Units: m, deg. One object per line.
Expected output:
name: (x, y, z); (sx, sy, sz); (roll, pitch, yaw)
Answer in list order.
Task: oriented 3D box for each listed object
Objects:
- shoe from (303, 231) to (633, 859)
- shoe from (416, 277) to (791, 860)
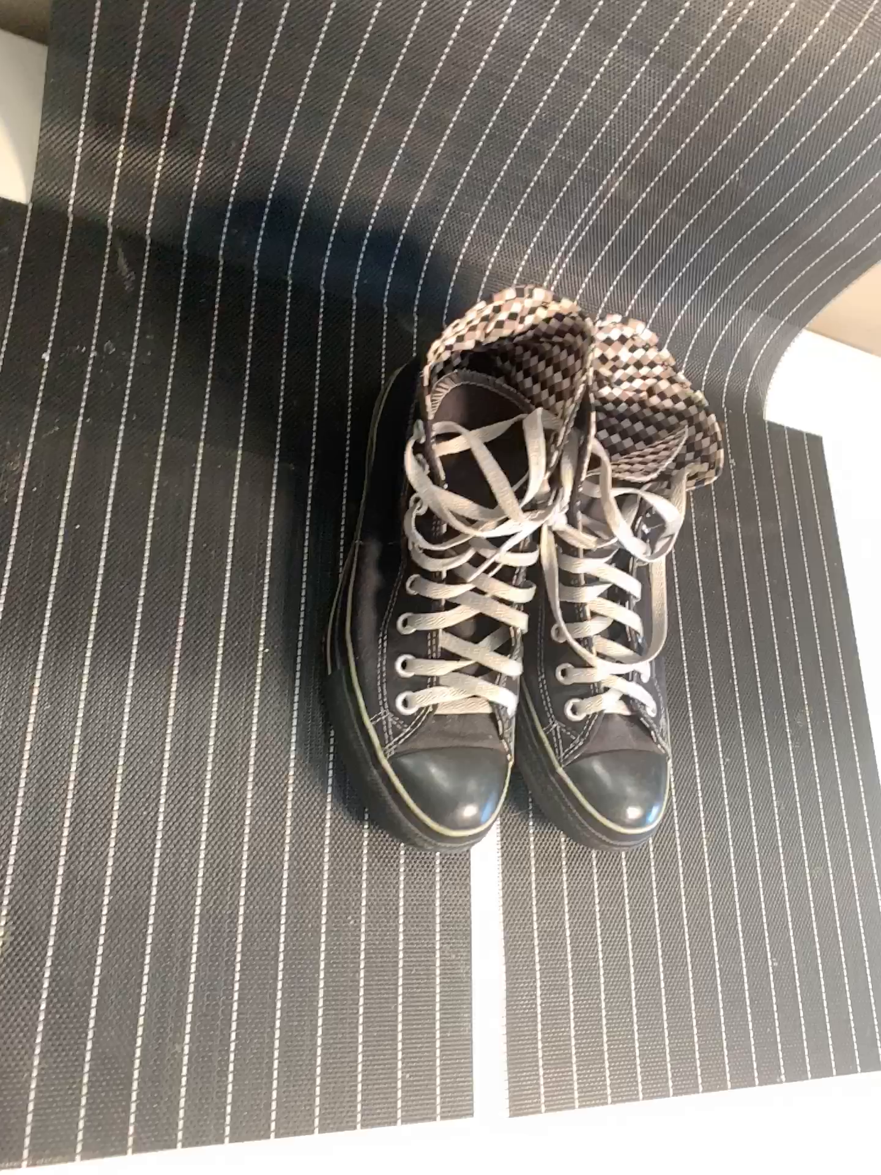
shoe: (0.002, -0.012, 0.477); (0.110, 0.129, 0.290); (7, 70, -25)
shoe: (0.078, -0.004, 0.517); (0.110, 0.129, 0.290); (1, 72, -27)
